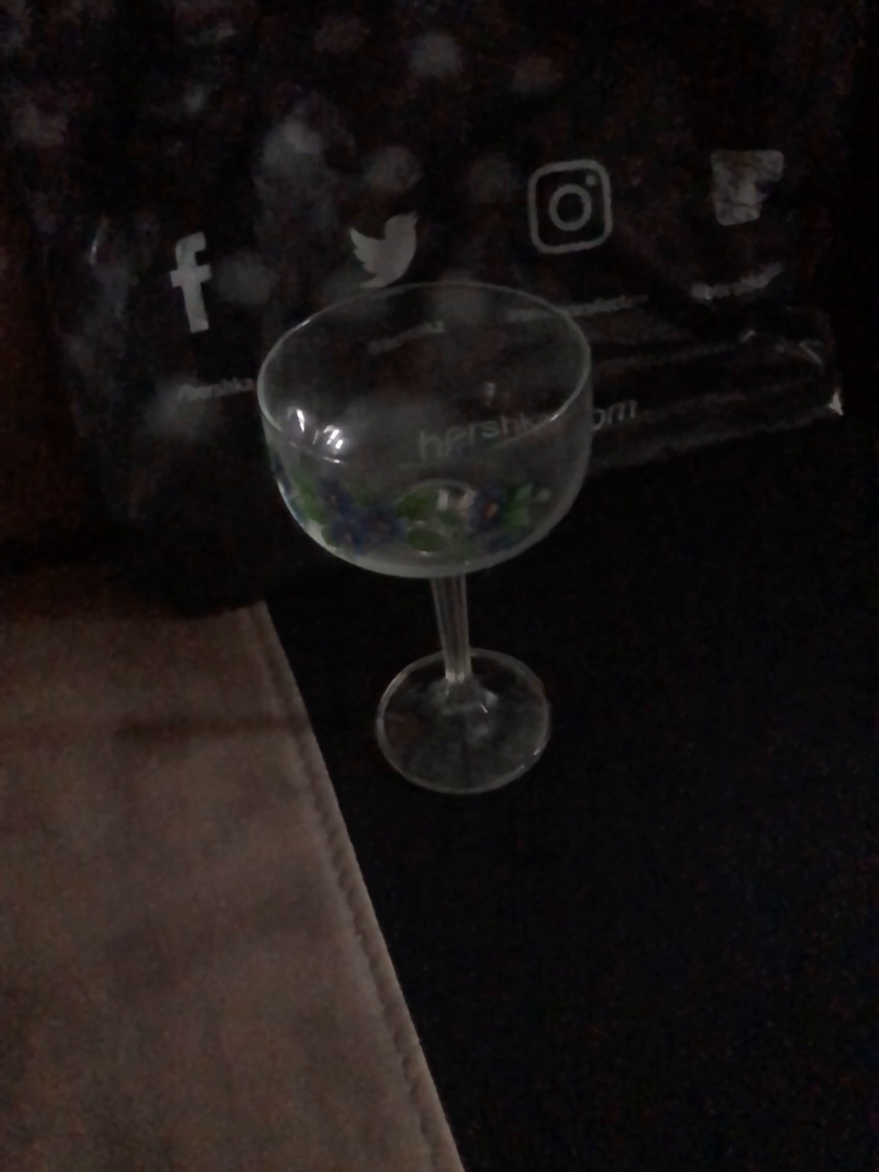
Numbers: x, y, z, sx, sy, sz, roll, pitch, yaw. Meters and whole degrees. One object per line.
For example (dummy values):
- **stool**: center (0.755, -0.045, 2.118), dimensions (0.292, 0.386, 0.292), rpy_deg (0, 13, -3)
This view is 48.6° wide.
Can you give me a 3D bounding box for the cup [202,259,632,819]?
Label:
- **cup**: center (0.002, -0.010, 0.302), dimensions (0.096, 0.147, 0.085), rpy_deg (6, 47, 8)
